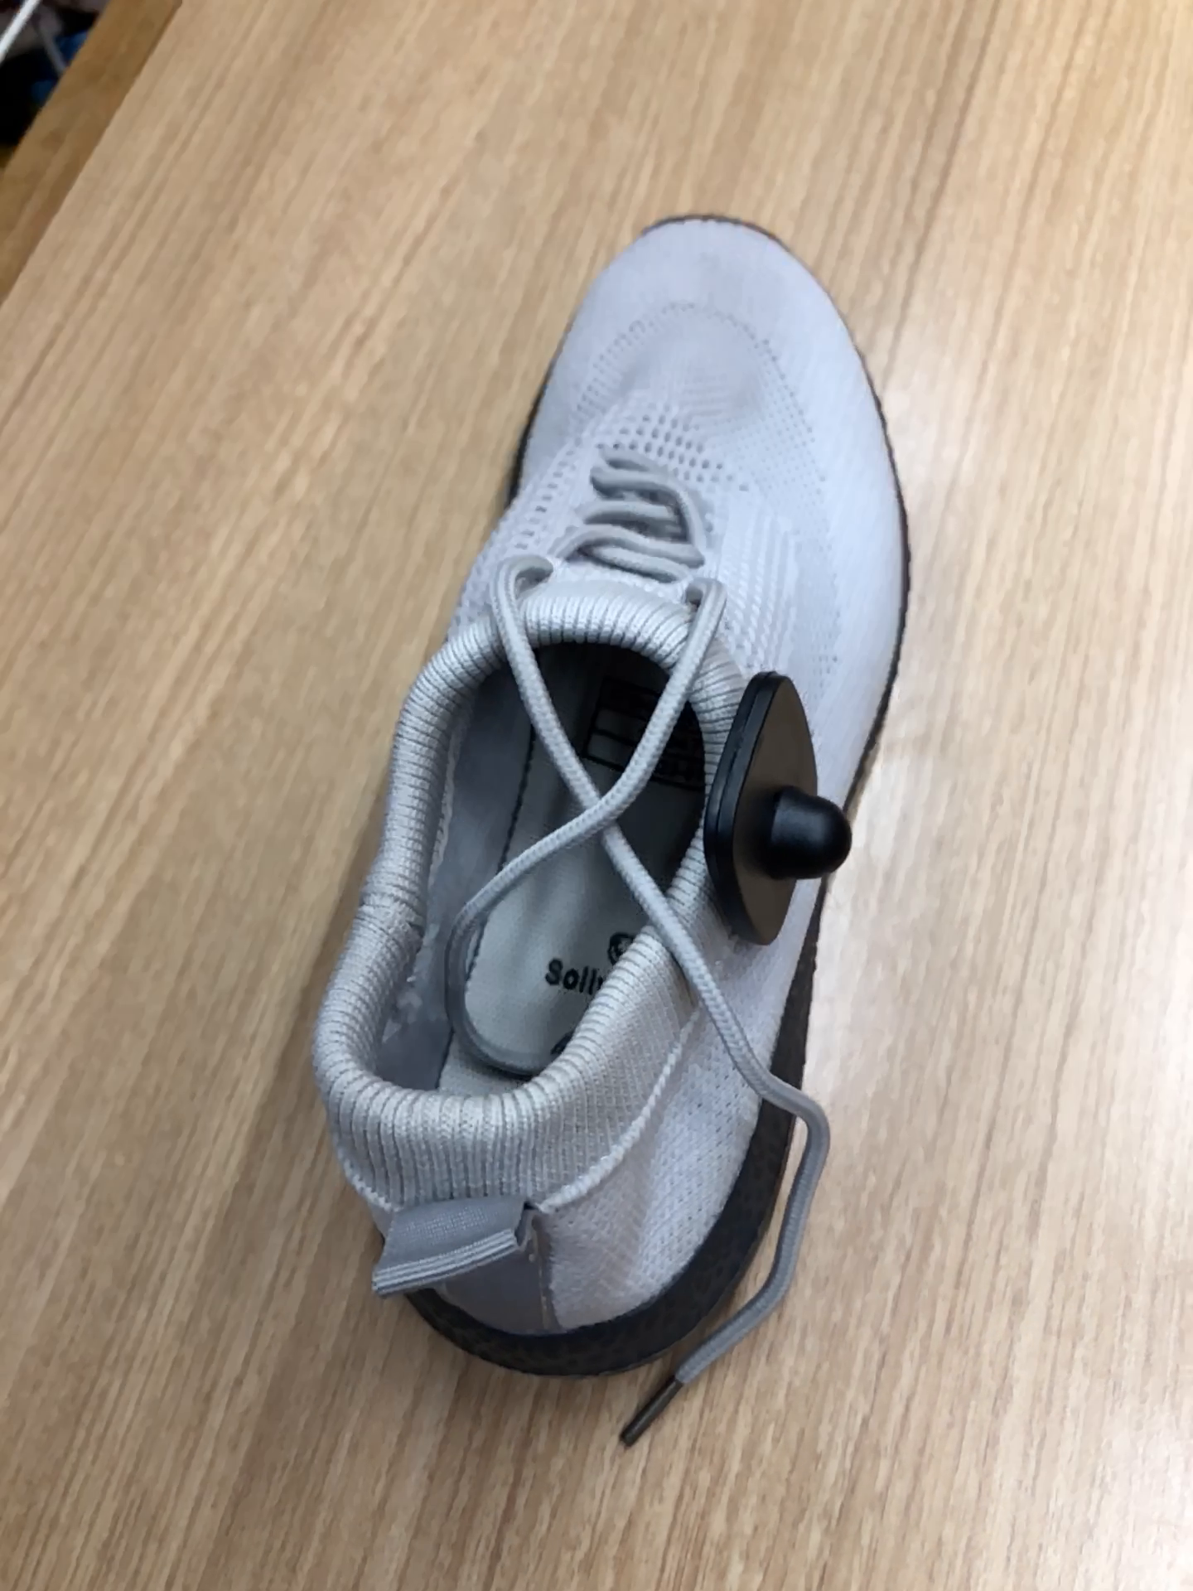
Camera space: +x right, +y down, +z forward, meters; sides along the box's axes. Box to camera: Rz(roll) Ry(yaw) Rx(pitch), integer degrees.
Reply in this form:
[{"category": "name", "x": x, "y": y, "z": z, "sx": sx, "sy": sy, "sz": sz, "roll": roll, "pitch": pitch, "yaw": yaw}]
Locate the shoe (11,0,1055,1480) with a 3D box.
[{"category": "shoe", "x": 0.012, "y": -0.029, "z": 0.260, "sx": 0.106, "sy": 0.122, "sz": 0.265, "roll": 9, "pitch": 67, "yaw": 9}]
